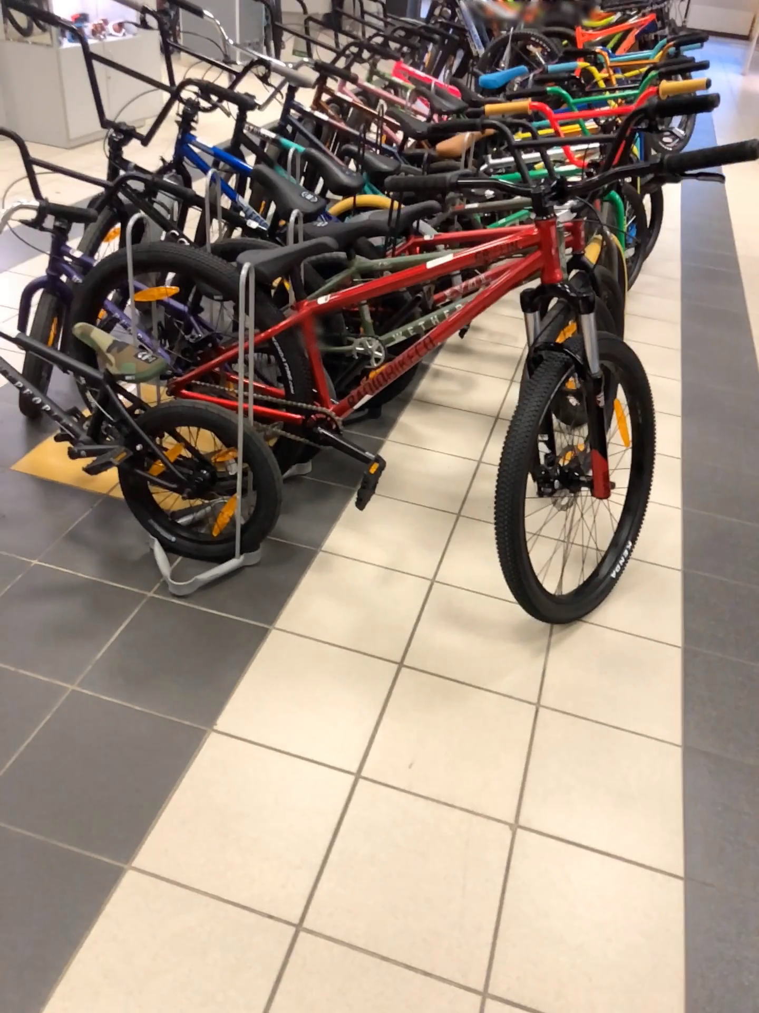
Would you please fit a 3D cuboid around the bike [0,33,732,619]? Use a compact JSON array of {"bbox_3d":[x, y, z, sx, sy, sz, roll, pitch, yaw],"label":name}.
[{"bbox_3d":[-0.065,-0.430,1.894,1.336,0.997,0.716,8,33,4],"label":"bike"}]
